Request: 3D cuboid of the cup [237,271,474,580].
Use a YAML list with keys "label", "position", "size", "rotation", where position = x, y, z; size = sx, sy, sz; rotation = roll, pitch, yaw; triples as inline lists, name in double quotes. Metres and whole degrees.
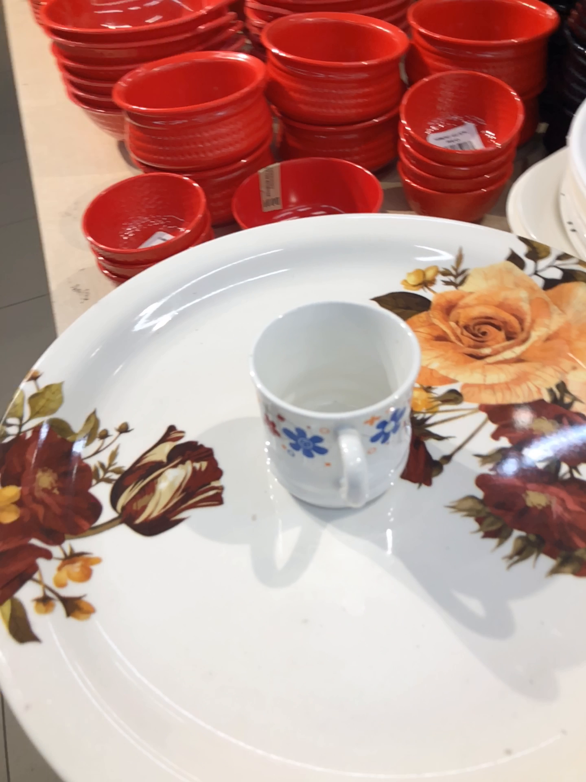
- label: "cup"
  position: [0.020, 0.013, 0.258]
  size: [0.070, 0.070, 0.090]
  rotation: [-8, 48, 0]
